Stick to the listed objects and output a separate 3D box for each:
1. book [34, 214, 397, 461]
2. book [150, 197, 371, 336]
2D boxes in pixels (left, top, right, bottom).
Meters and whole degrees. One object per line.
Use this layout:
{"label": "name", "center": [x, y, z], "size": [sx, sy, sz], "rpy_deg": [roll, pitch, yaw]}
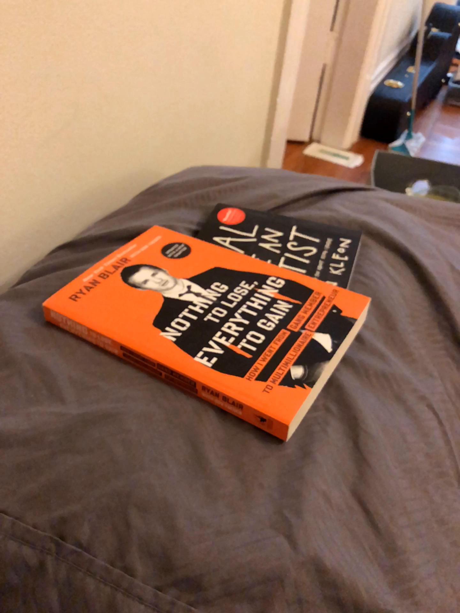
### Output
{"label": "book", "center": [-0.006, 0.002, 0.408], "size": [0.230, 0.020, 0.171], "rpy_deg": [22, 42, 21]}
{"label": "book", "center": [0.036, -0.046, 0.475], "size": [0.170, 0.020, 0.151], "rpy_deg": [12, 39, 12]}
